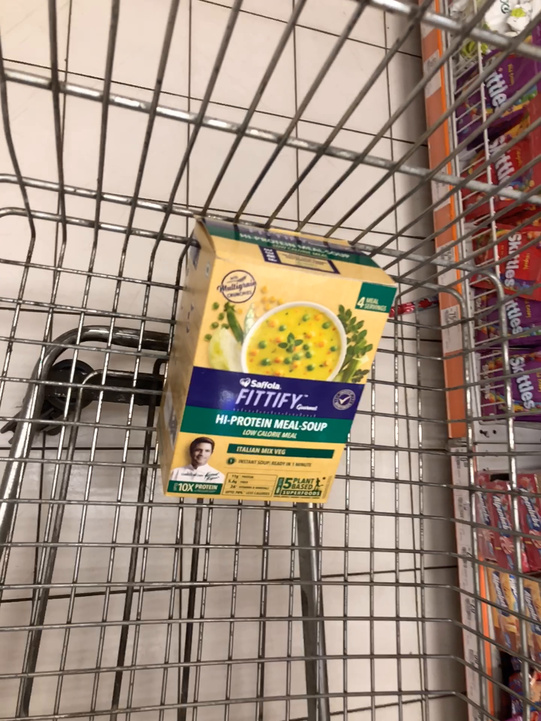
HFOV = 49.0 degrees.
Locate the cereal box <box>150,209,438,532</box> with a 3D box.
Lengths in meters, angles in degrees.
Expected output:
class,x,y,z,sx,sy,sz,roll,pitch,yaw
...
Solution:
class,x,y,z,sx,sy,sz,roll,pitch,yaw
cereal box,0.003,0.010,0.393,0.130,0.090,0.180,7,112,-19
